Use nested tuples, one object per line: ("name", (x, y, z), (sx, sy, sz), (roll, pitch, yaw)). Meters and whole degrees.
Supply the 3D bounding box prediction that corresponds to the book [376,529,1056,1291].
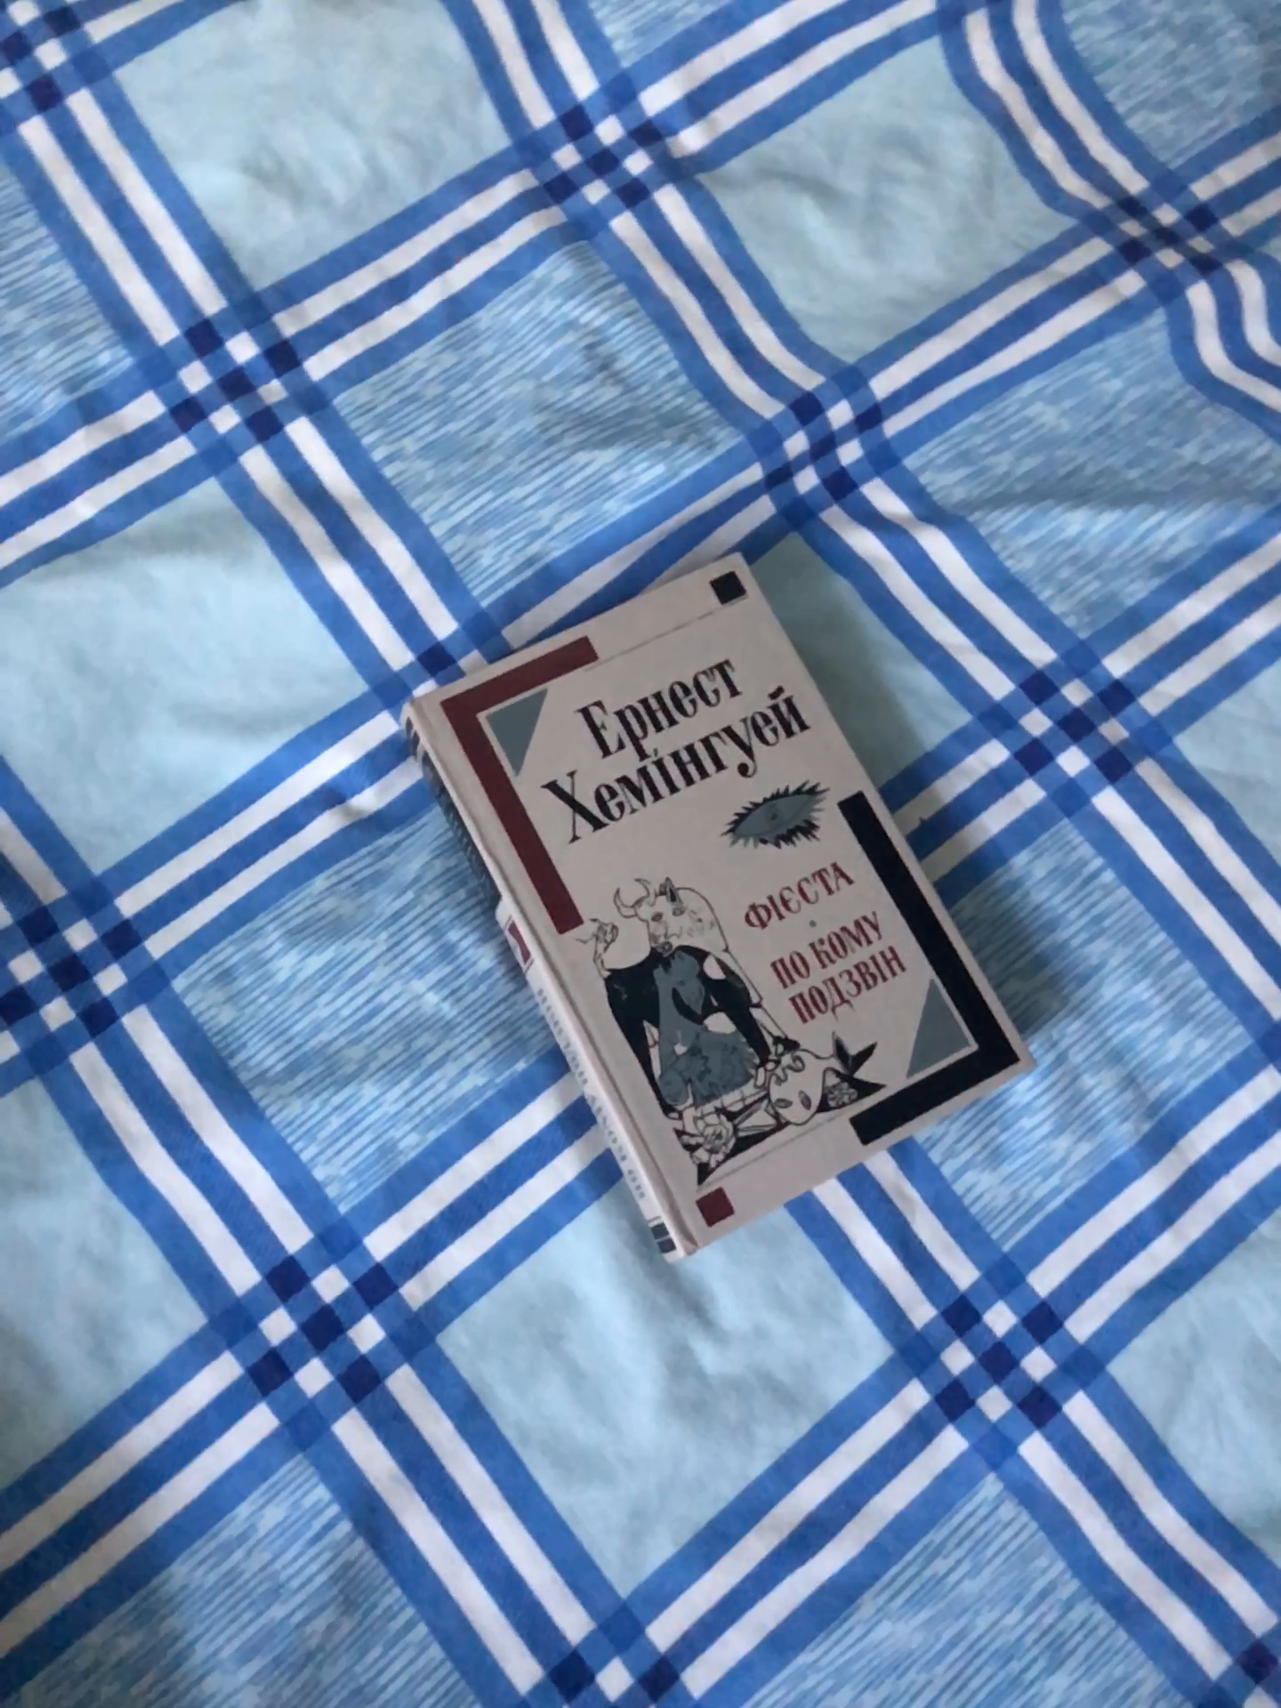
("book", (0.022, 0.015, 0.492), (0.142, 0.040, 0.220), (-26, 79, -9))
